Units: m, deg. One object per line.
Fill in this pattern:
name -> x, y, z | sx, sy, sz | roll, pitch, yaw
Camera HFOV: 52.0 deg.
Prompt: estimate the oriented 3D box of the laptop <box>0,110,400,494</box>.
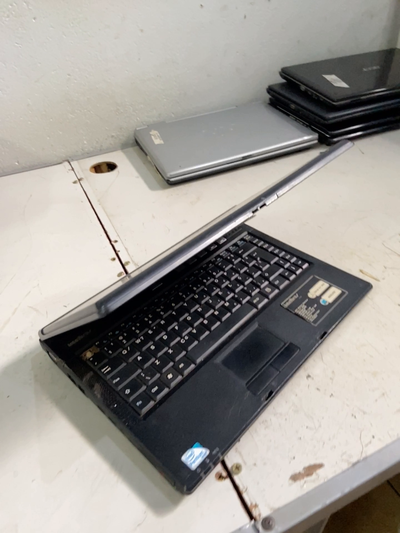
laptop -> 0.011, -0.010, 0.435 | 0.236, 0.168, 0.325 | 29, 49, 33
